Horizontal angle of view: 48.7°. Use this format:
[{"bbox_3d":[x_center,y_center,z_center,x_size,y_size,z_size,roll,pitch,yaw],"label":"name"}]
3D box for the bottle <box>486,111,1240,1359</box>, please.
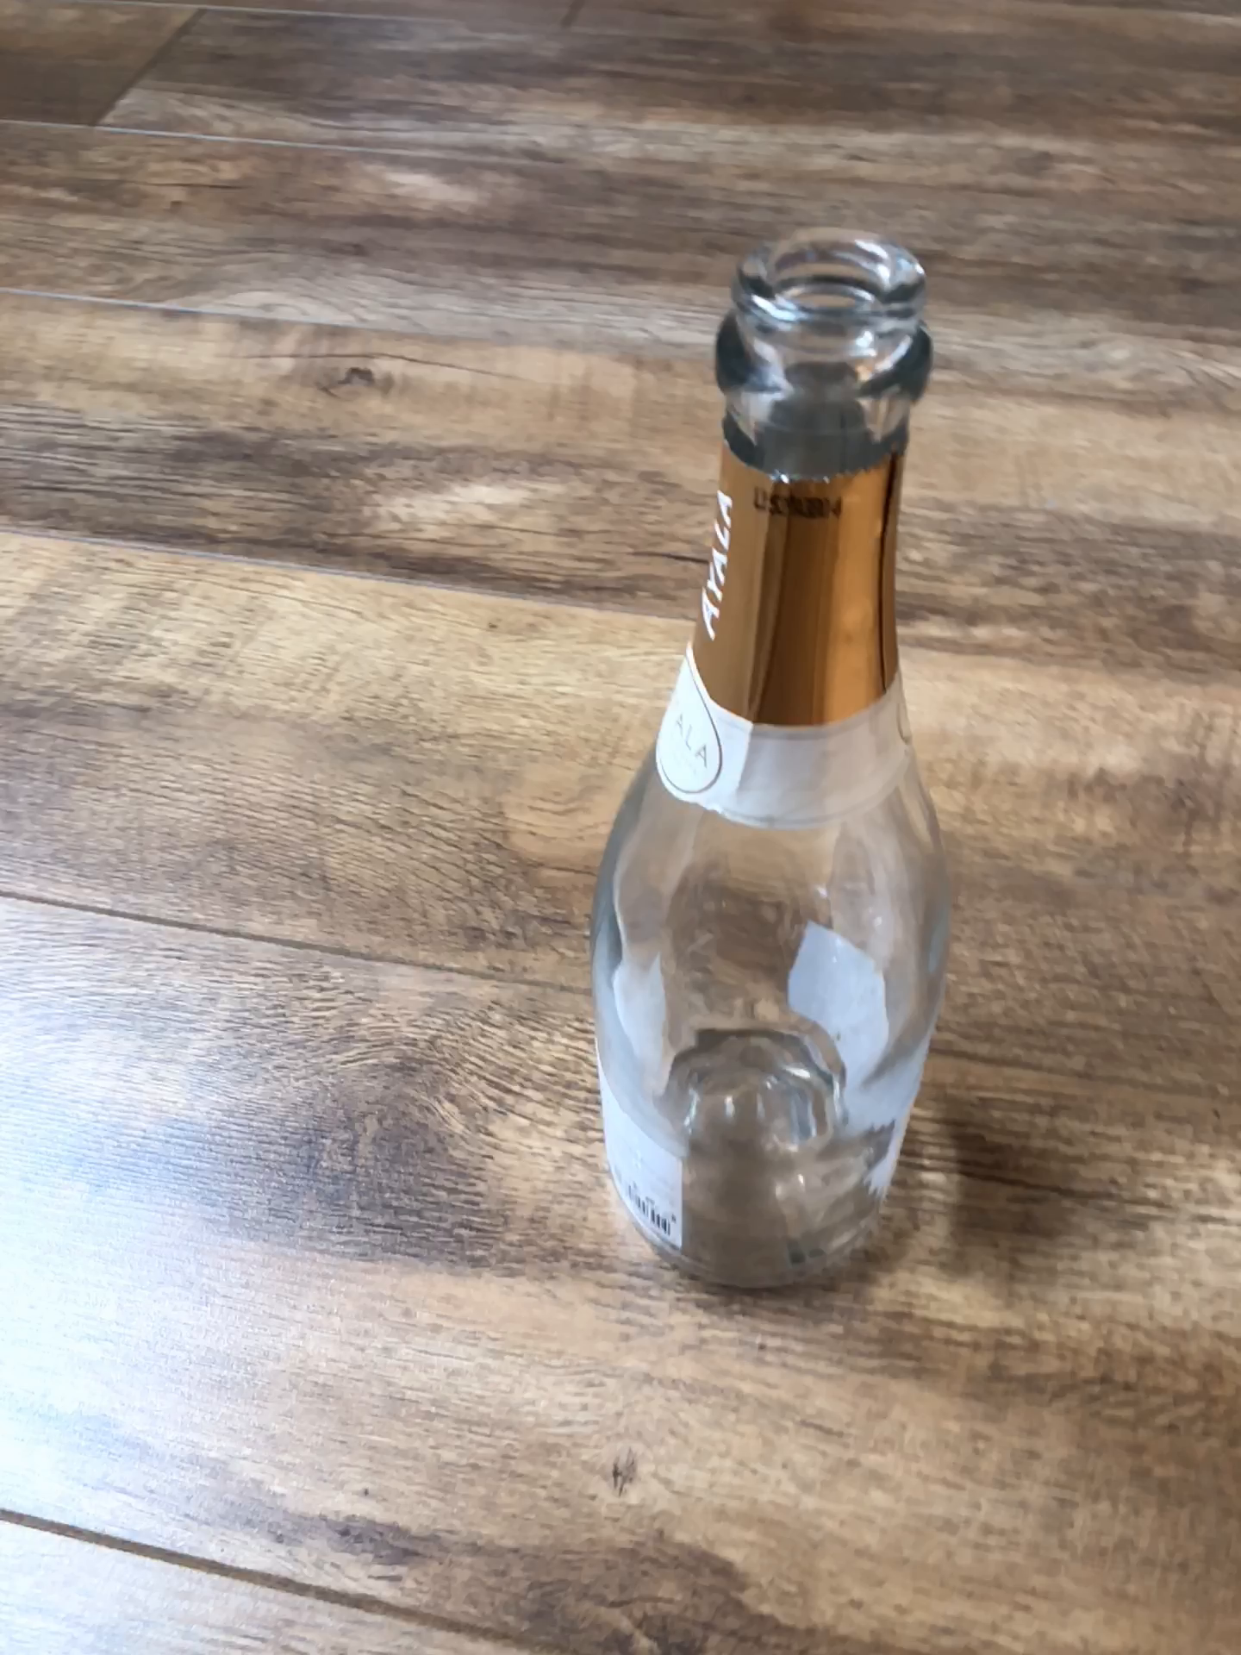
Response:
[{"bbox_3d":[0.036,0.017,0.310,0.090,0.298,0.091,-1,51,1],"label":"bottle"}]
